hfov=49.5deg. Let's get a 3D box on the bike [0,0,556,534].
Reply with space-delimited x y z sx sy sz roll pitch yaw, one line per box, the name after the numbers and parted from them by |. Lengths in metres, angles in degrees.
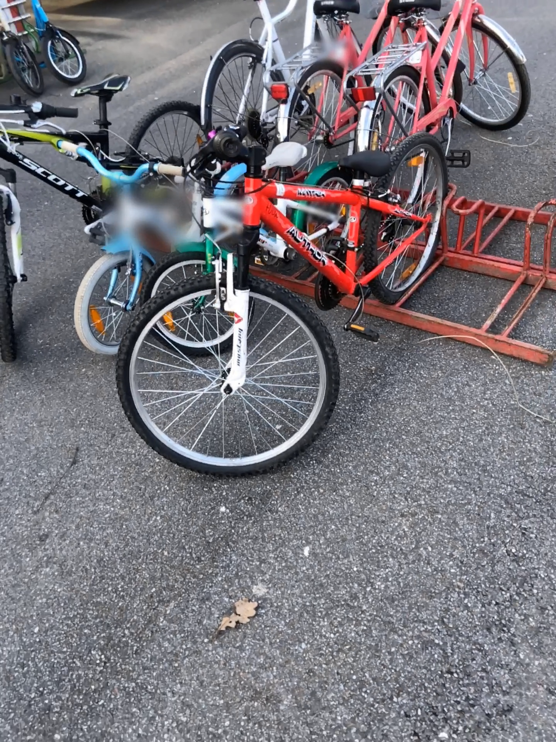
0.144 -0.404 1.803 1.447 0.908 0.553 -37 49 -28 | bike
